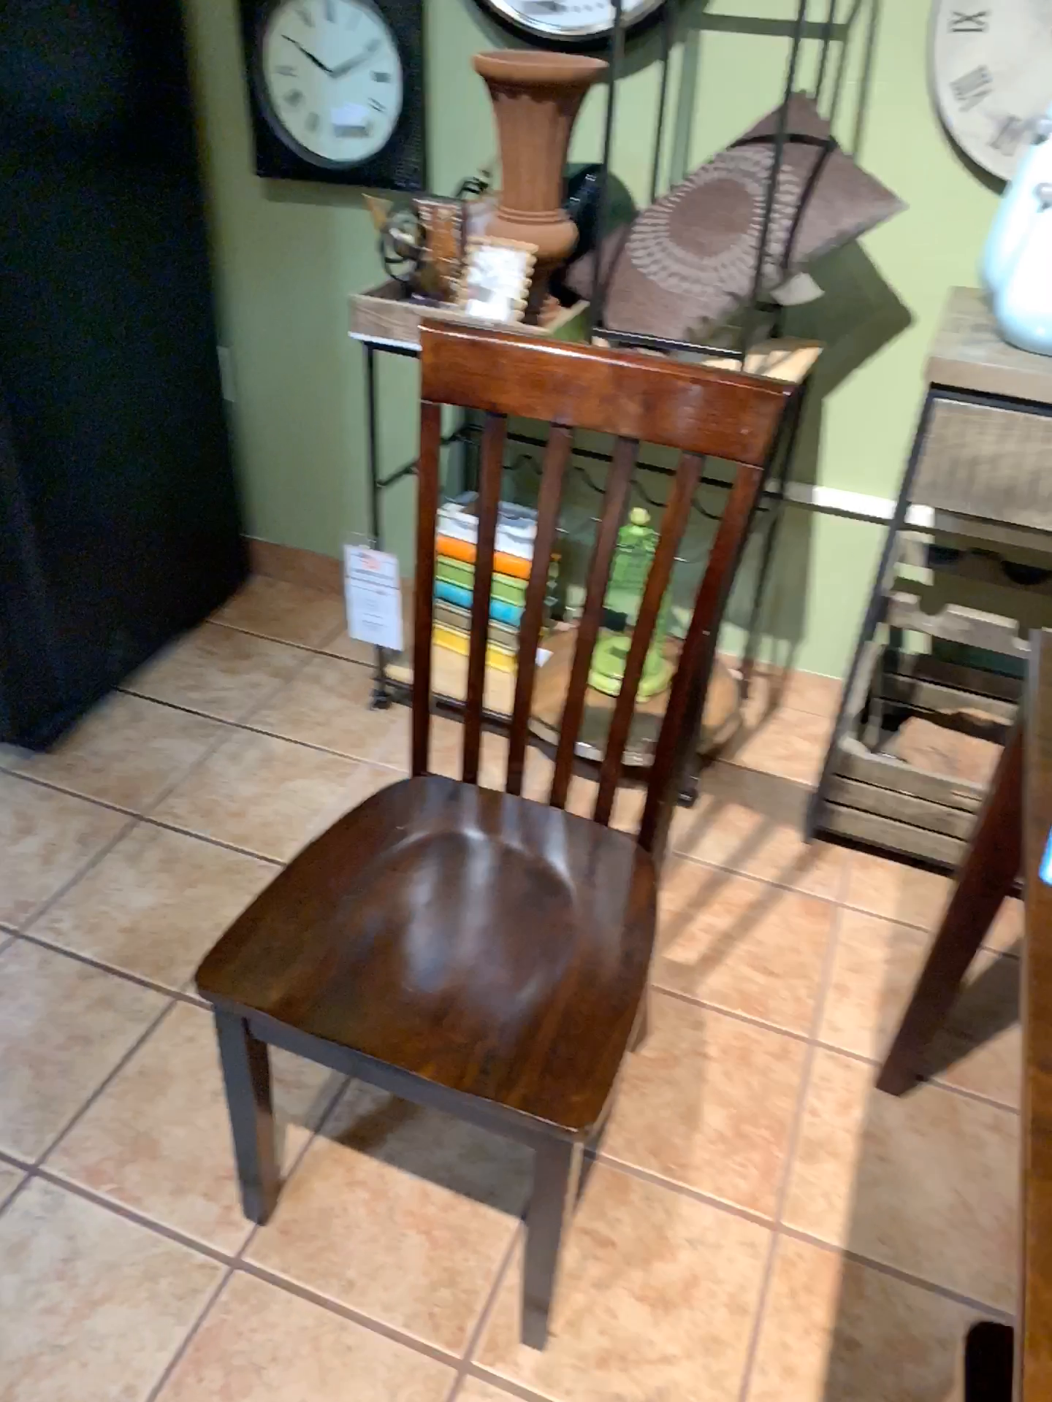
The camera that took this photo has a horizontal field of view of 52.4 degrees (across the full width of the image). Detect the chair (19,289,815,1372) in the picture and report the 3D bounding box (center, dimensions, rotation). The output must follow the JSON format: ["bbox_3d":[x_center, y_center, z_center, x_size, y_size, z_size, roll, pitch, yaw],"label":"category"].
[{"bbox_3d":[-0.055,0.135,1.176,0.461,0.936,0.587,15,37,15],"label":"chair"}]

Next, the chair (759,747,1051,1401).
[{"bbox_3d":[0.459,0.612,0.553,0.461,0.946,0.577,11,36,10],"label":"chair"}]
